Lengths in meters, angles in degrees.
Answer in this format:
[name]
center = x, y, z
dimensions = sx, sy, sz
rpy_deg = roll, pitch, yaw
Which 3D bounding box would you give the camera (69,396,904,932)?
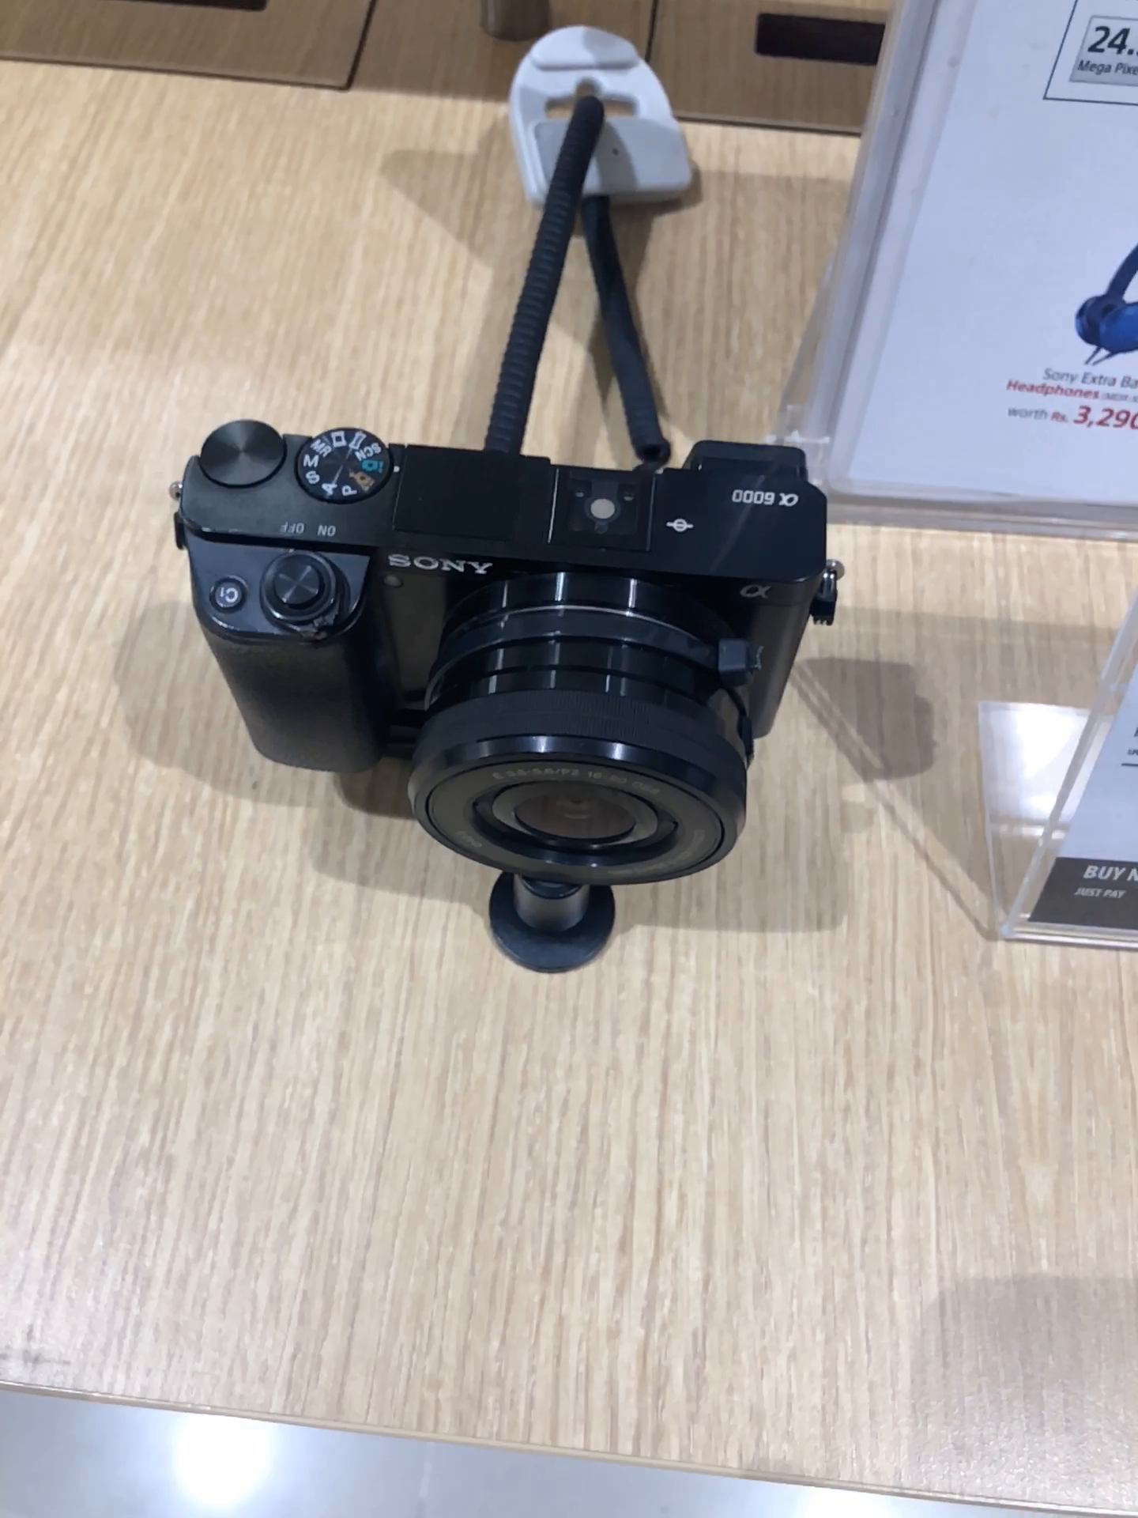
[camera]
center = -0.012, -0.015, 0.245
dimensions = 0.130, 0.070, 0.070
rpy_deg = 3, 62, 1
